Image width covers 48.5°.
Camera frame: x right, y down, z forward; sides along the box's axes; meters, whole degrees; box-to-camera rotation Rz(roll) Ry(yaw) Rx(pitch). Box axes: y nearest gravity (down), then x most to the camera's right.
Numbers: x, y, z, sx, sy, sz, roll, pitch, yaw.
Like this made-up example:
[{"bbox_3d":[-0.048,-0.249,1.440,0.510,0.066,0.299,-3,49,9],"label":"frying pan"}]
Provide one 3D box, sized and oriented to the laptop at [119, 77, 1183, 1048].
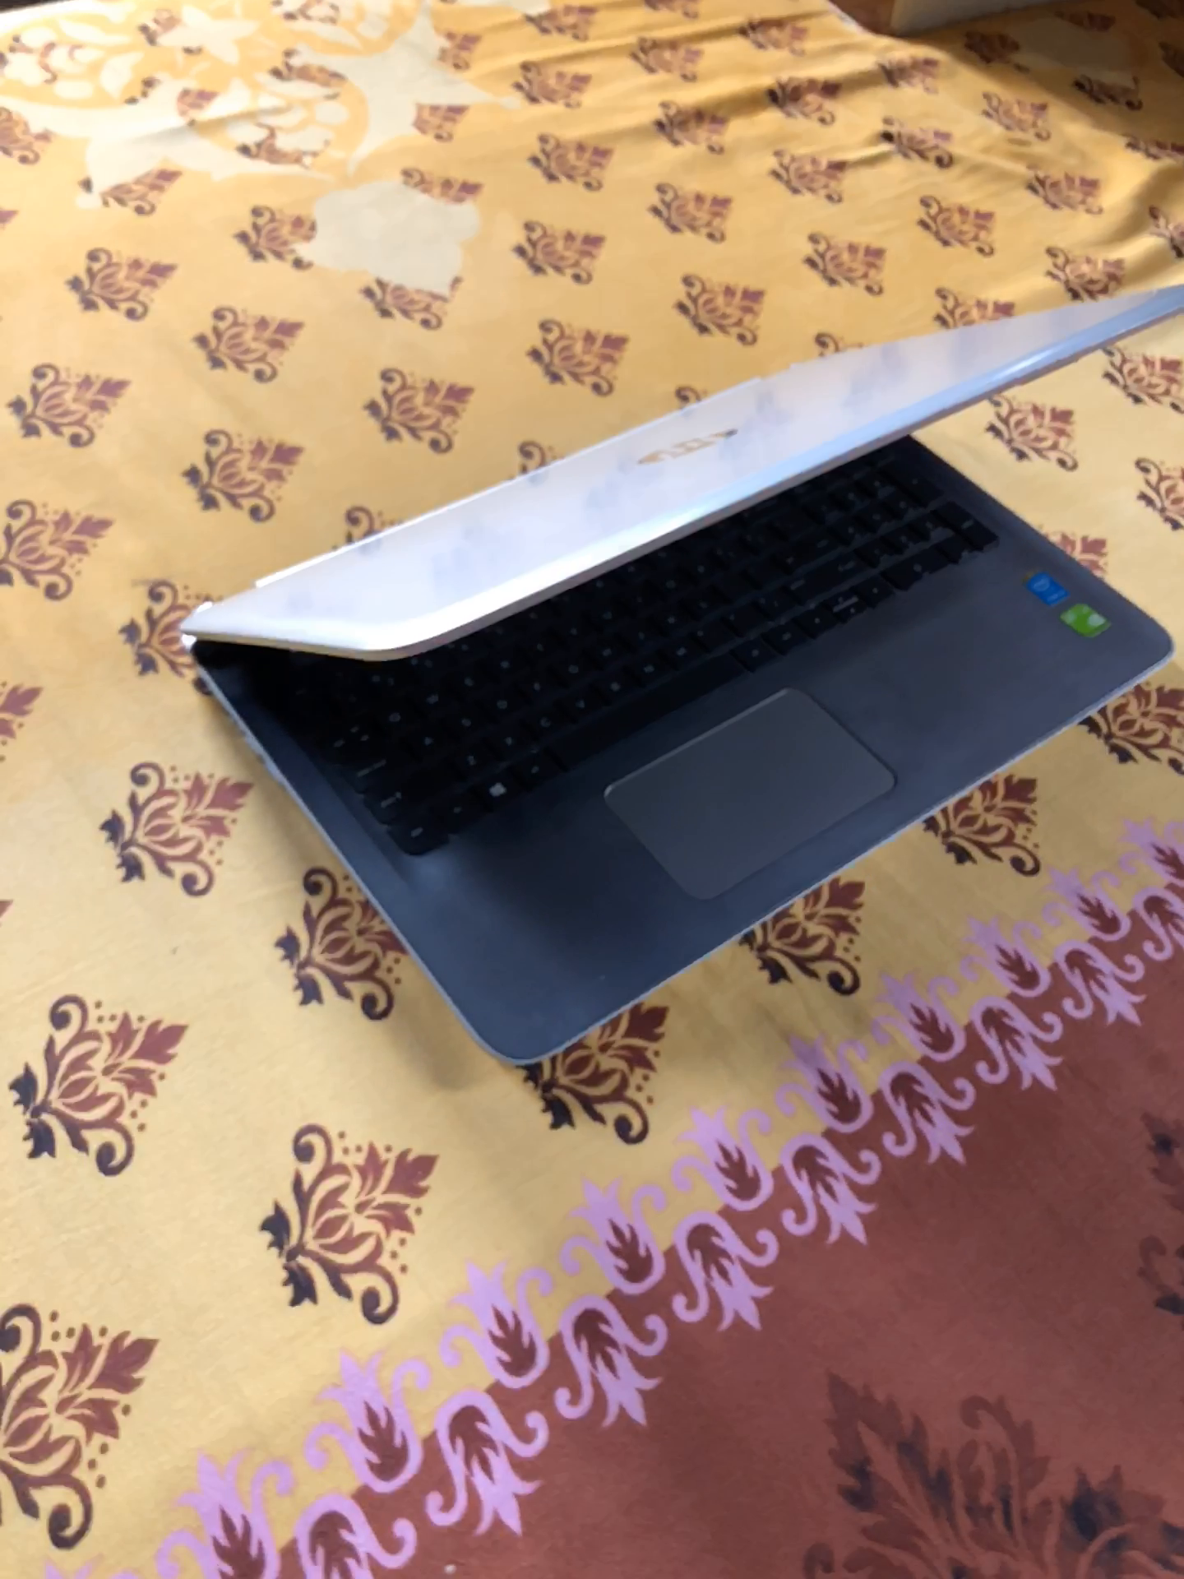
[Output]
[{"bbox_3d":[0.053,-0.120,0.529,0.373,0.155,0.249,-28,58,-24],"label":"laptop"}]
